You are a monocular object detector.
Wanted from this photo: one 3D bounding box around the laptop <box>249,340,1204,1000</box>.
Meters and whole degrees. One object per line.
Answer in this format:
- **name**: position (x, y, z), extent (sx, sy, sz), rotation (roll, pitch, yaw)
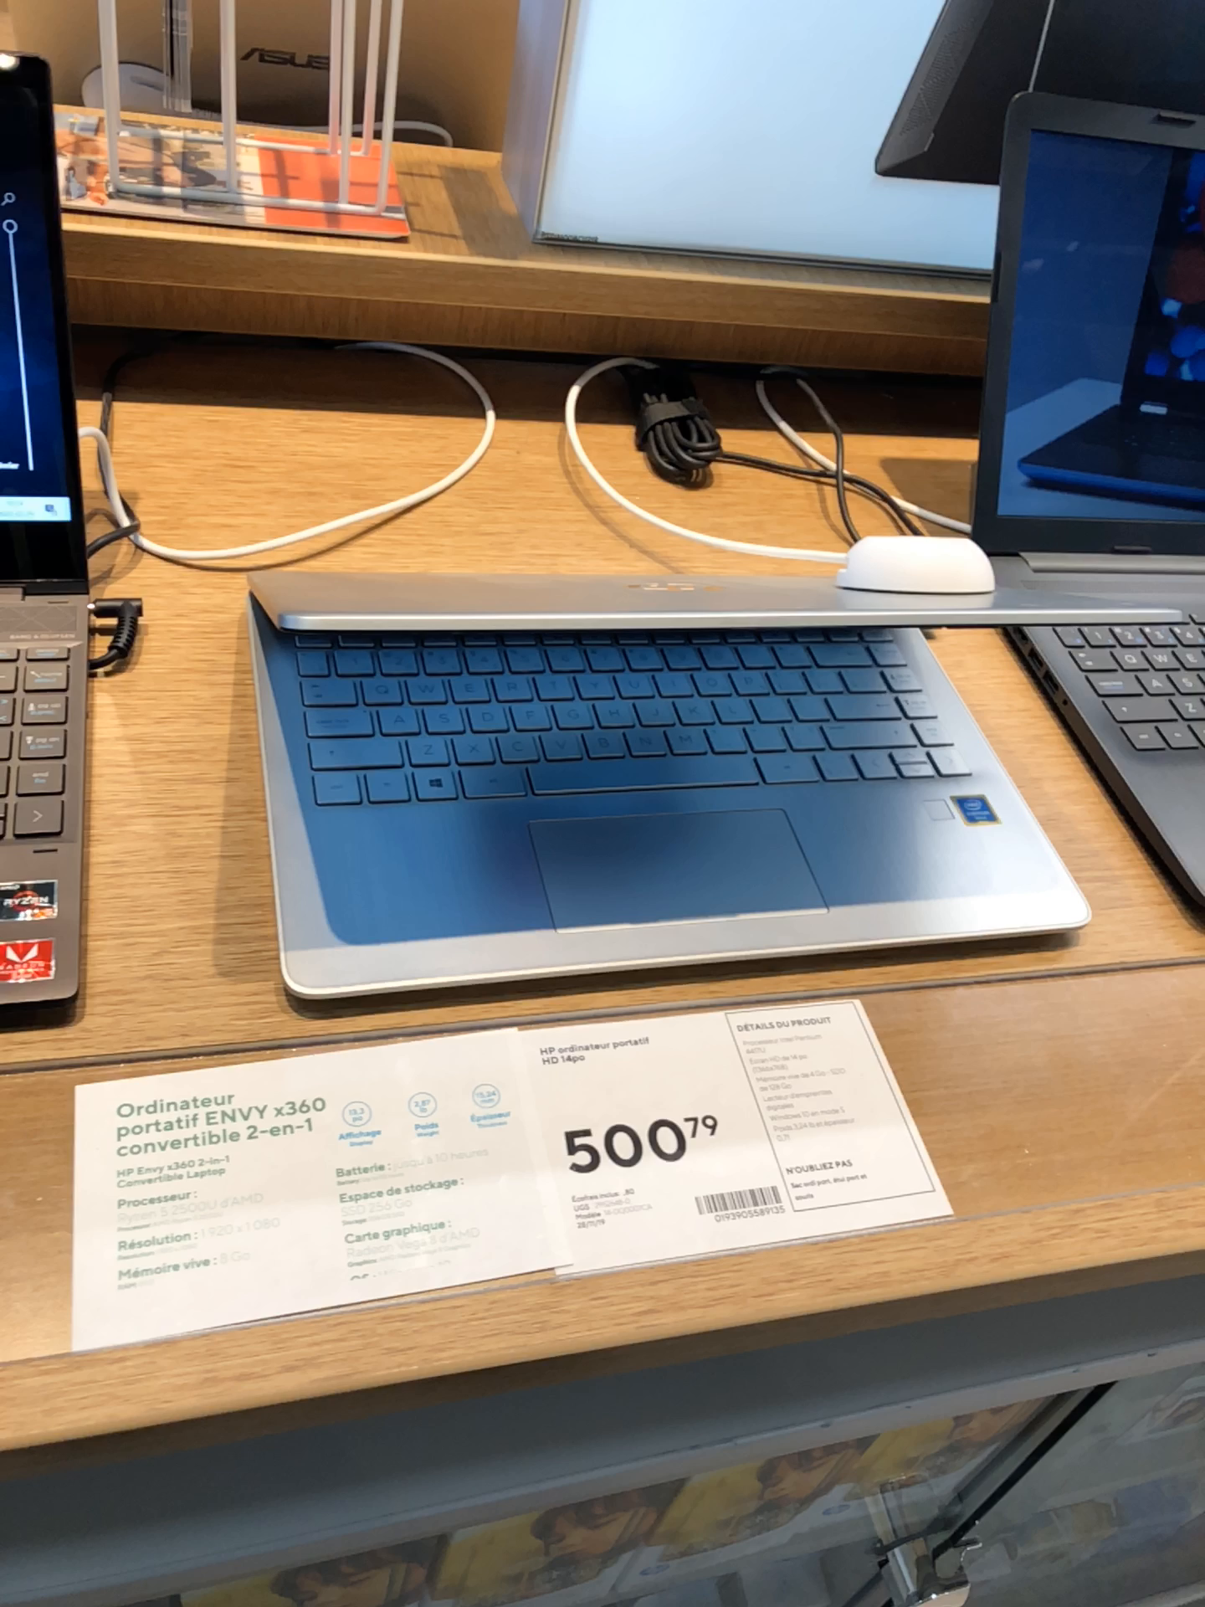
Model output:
- **laptop**: position (0.033, -0.063, 0.514), extent (0.315, 0.110, 0.217), rotation (-3, 49, -17)
